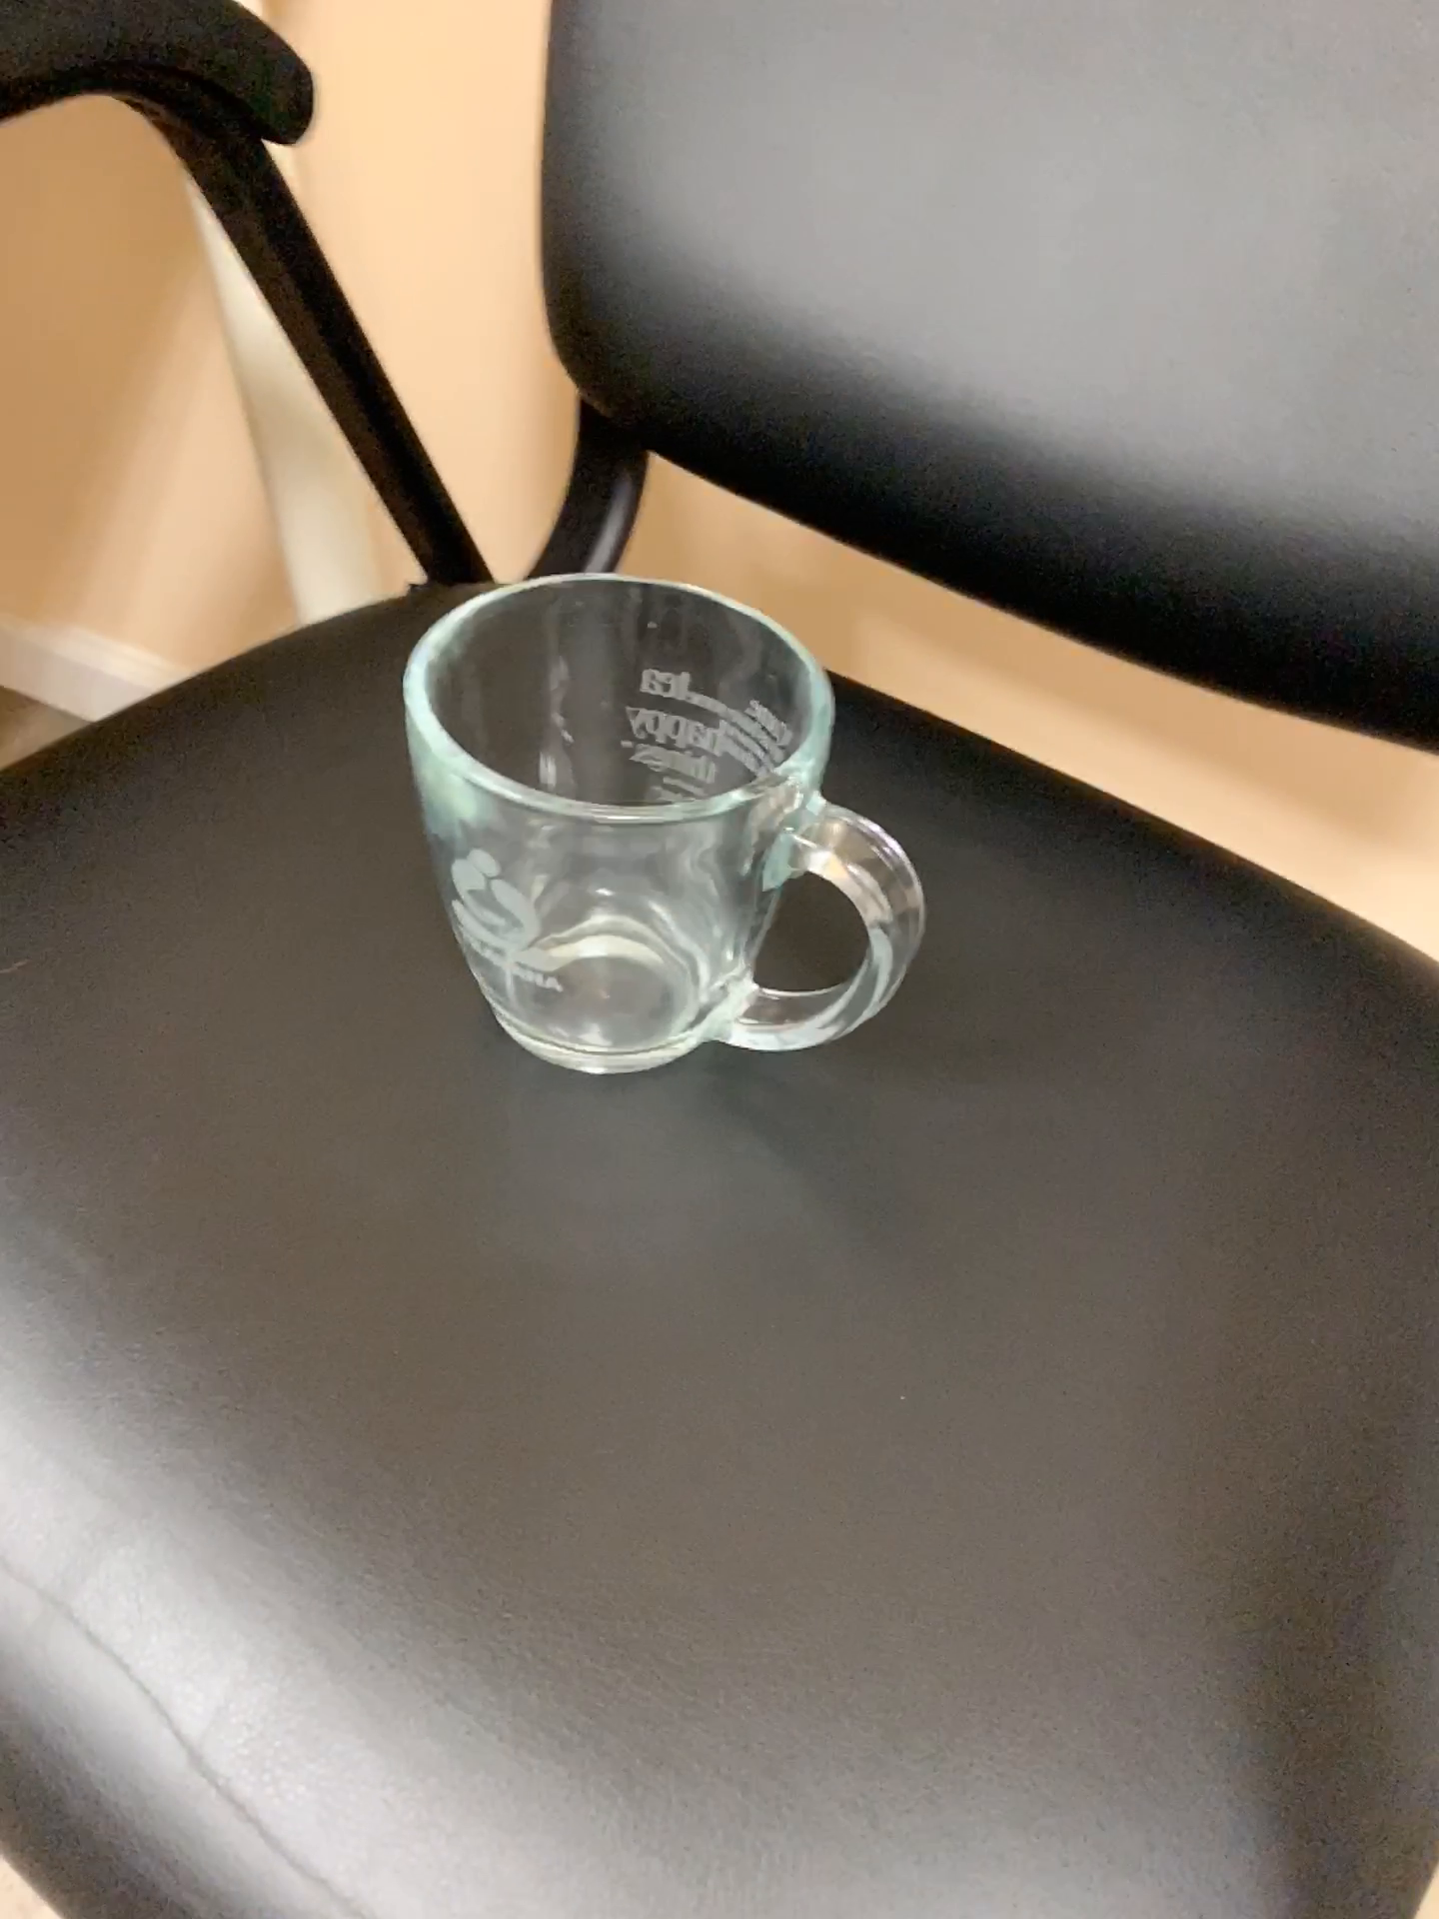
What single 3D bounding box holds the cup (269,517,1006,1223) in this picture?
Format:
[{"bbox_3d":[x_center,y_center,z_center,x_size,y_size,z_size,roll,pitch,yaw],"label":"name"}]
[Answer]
[{"bbox_3d":[-0.020,-0.027,0.371,0.139,0.100,0.096,23,45,16],"label":"cup"}]
